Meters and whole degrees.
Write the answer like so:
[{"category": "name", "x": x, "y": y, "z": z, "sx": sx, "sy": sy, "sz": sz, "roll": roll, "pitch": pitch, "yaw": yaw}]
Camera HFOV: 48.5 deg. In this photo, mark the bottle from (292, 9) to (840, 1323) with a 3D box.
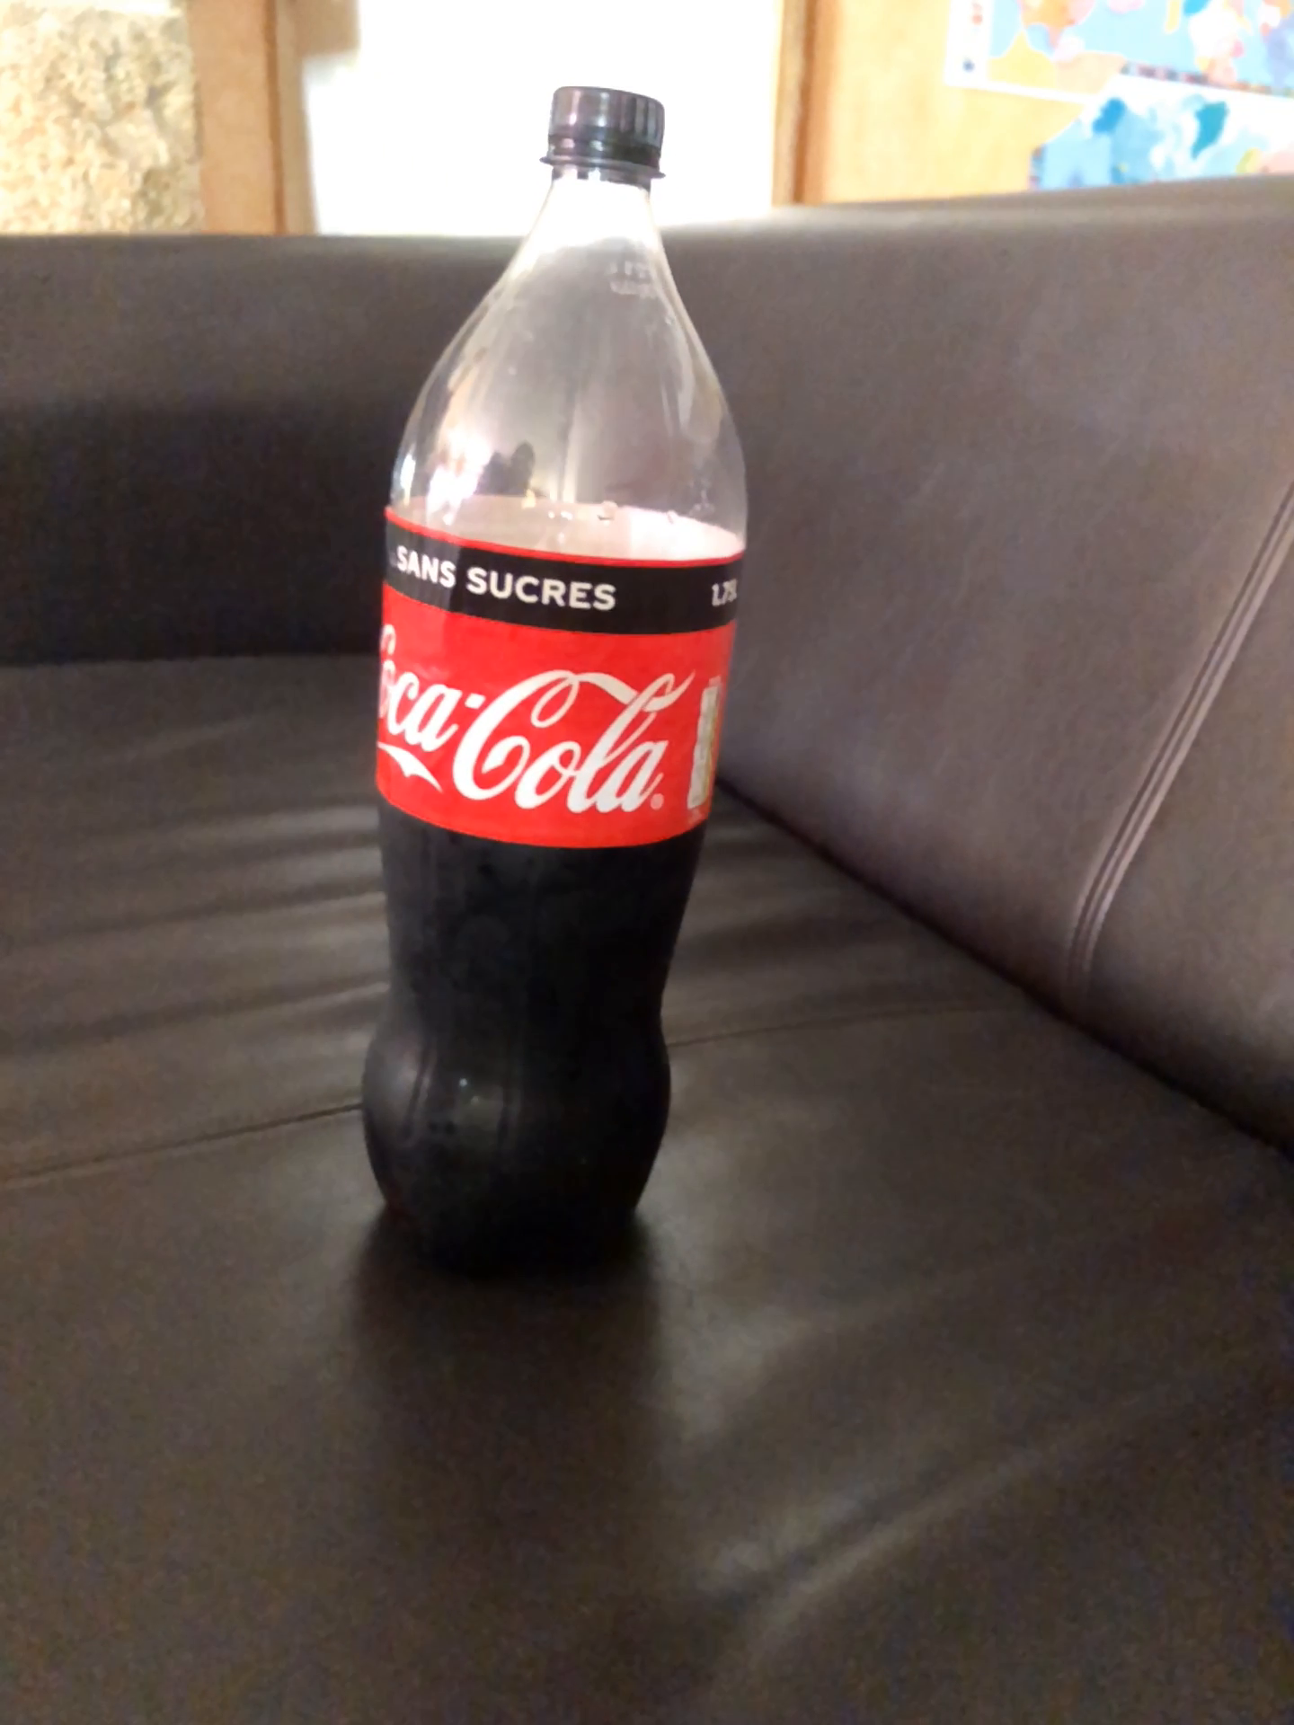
[{"category": "bottle", "x": -0.027, "y": -0.046, "z": 0.402, "sx": 0.100, "sy": 0.318, "sz": 0.101, "roll": 4, "pitch": 21, "yaw": -2}]
